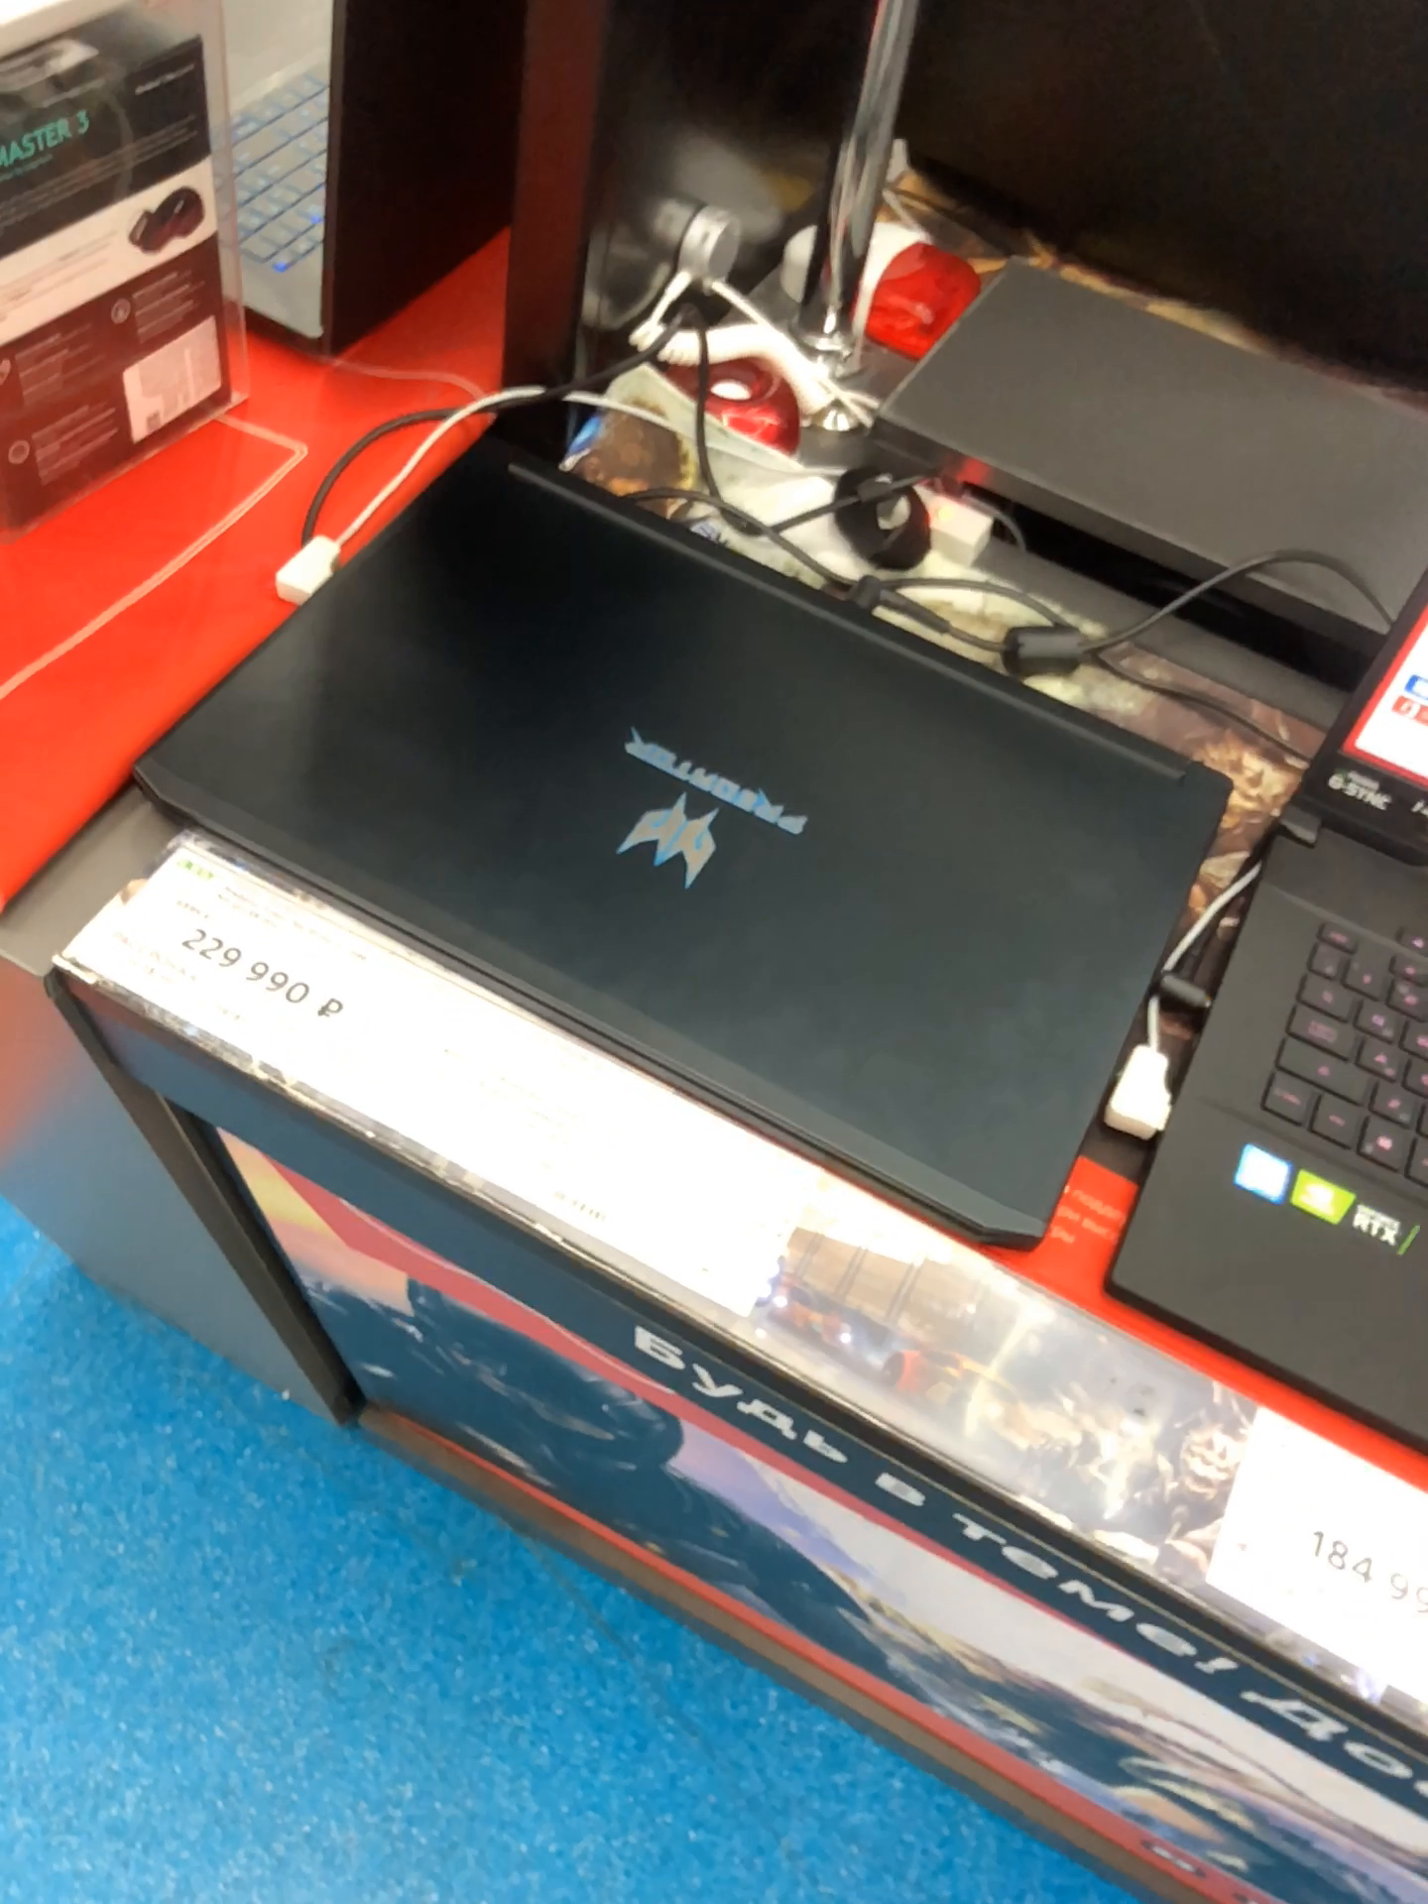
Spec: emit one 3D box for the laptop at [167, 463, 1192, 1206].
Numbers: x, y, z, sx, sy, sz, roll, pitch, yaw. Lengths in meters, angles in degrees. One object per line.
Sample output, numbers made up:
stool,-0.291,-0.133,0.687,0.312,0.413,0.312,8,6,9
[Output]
laptop,-0.003,-0.068,0.638,0.354,0.006,0.222,26,56,8
